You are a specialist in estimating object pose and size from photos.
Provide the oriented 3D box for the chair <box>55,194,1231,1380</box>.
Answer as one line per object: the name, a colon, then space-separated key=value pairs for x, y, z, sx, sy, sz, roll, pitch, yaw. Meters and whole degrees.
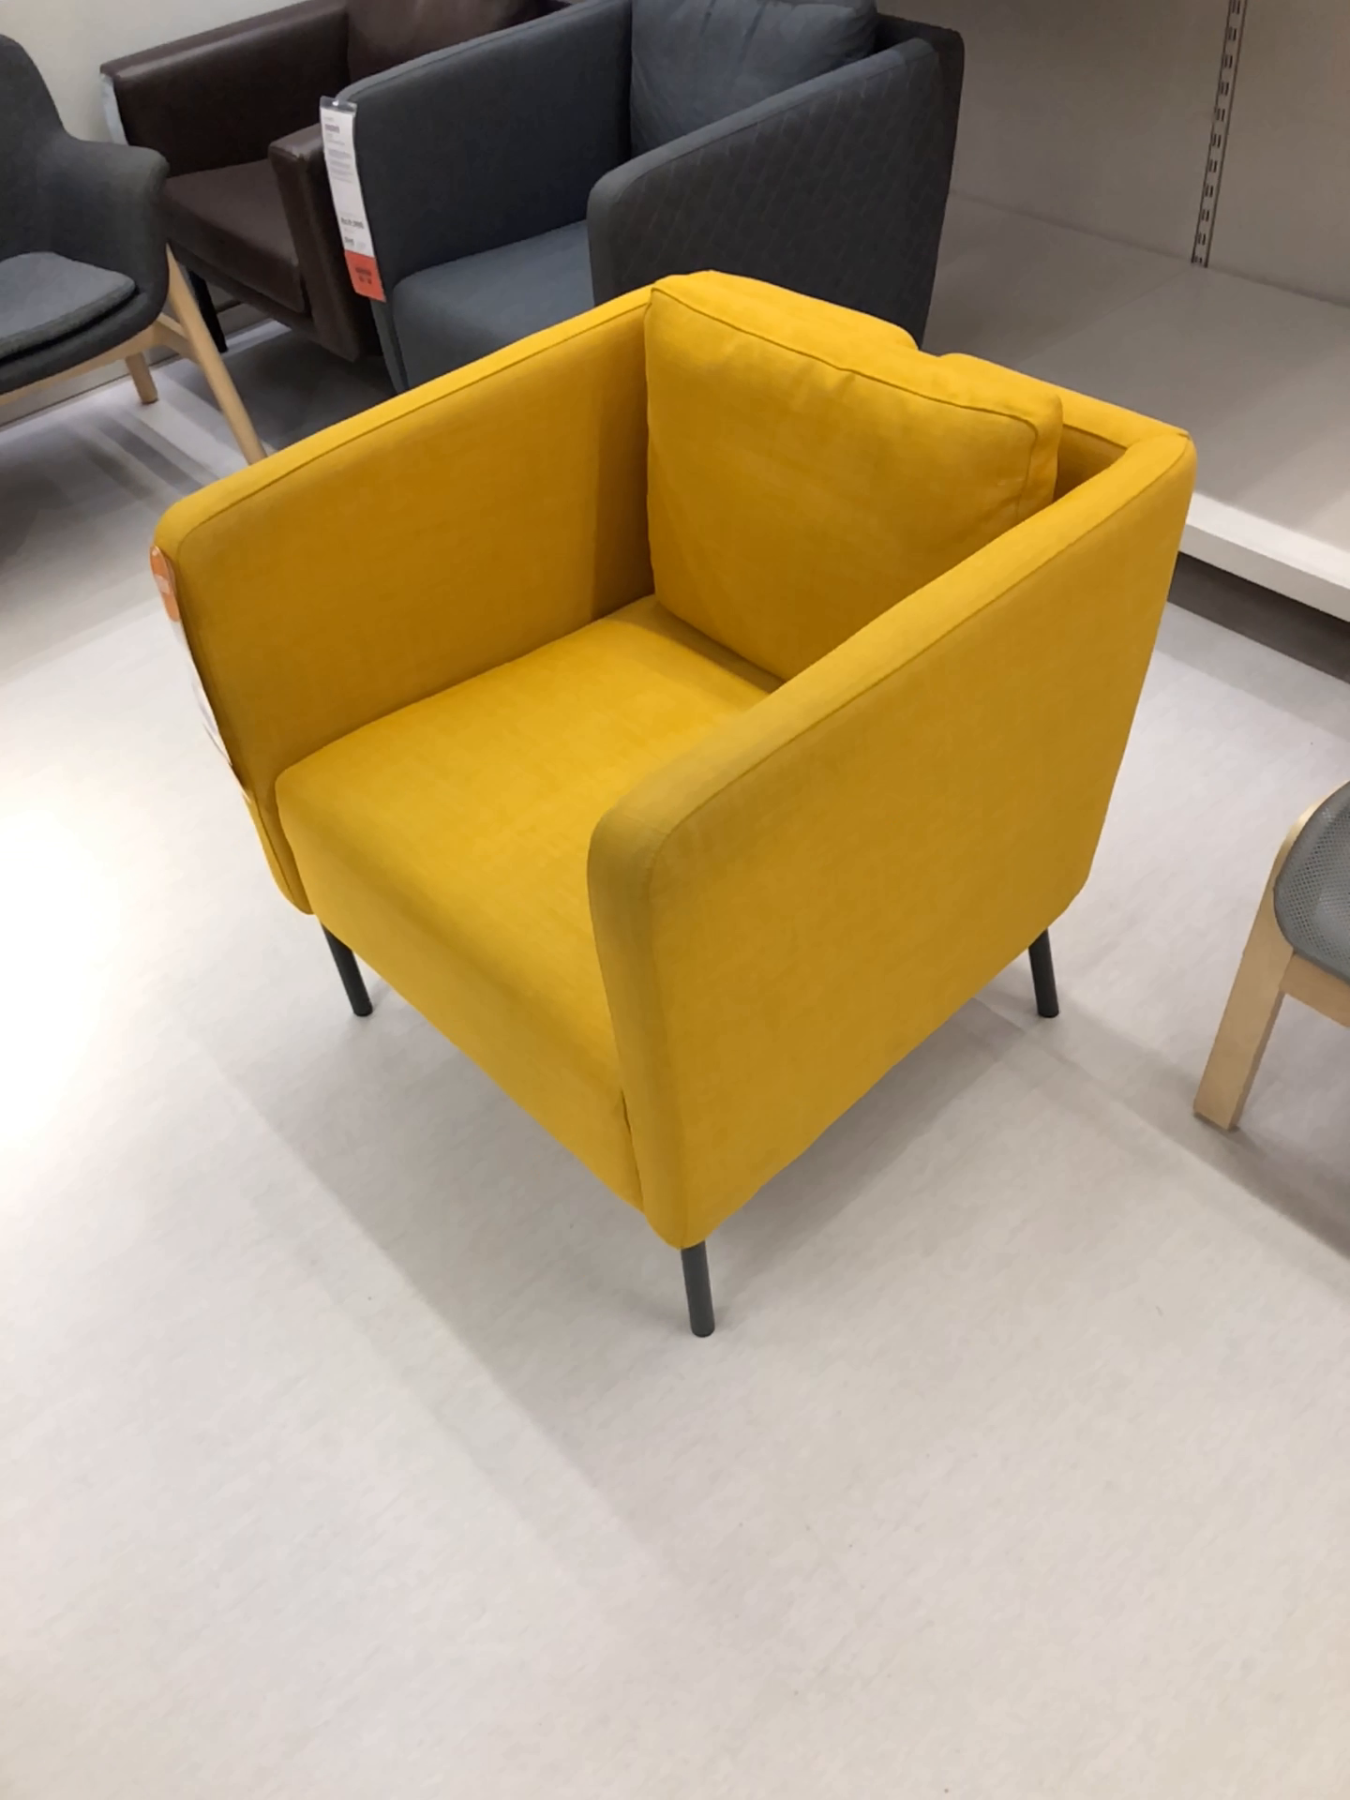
chair: x=-0.021 y=-0.155 z=1.456 sx=0.661 sy=0.695 sz=0.723 roll=-35 pitch=50 yaw=-25
